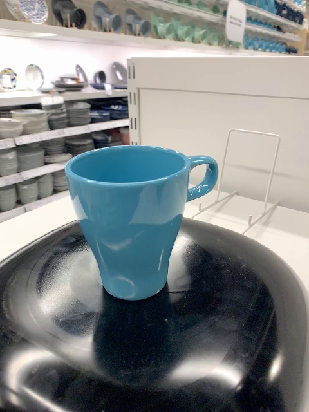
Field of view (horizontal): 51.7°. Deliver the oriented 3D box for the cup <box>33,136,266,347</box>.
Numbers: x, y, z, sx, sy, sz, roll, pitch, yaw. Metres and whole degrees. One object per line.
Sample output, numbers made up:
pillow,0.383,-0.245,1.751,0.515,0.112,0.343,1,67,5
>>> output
cup,-0.005,0.010,0.255,0.140,0.100,0.100,-15,28,-32
